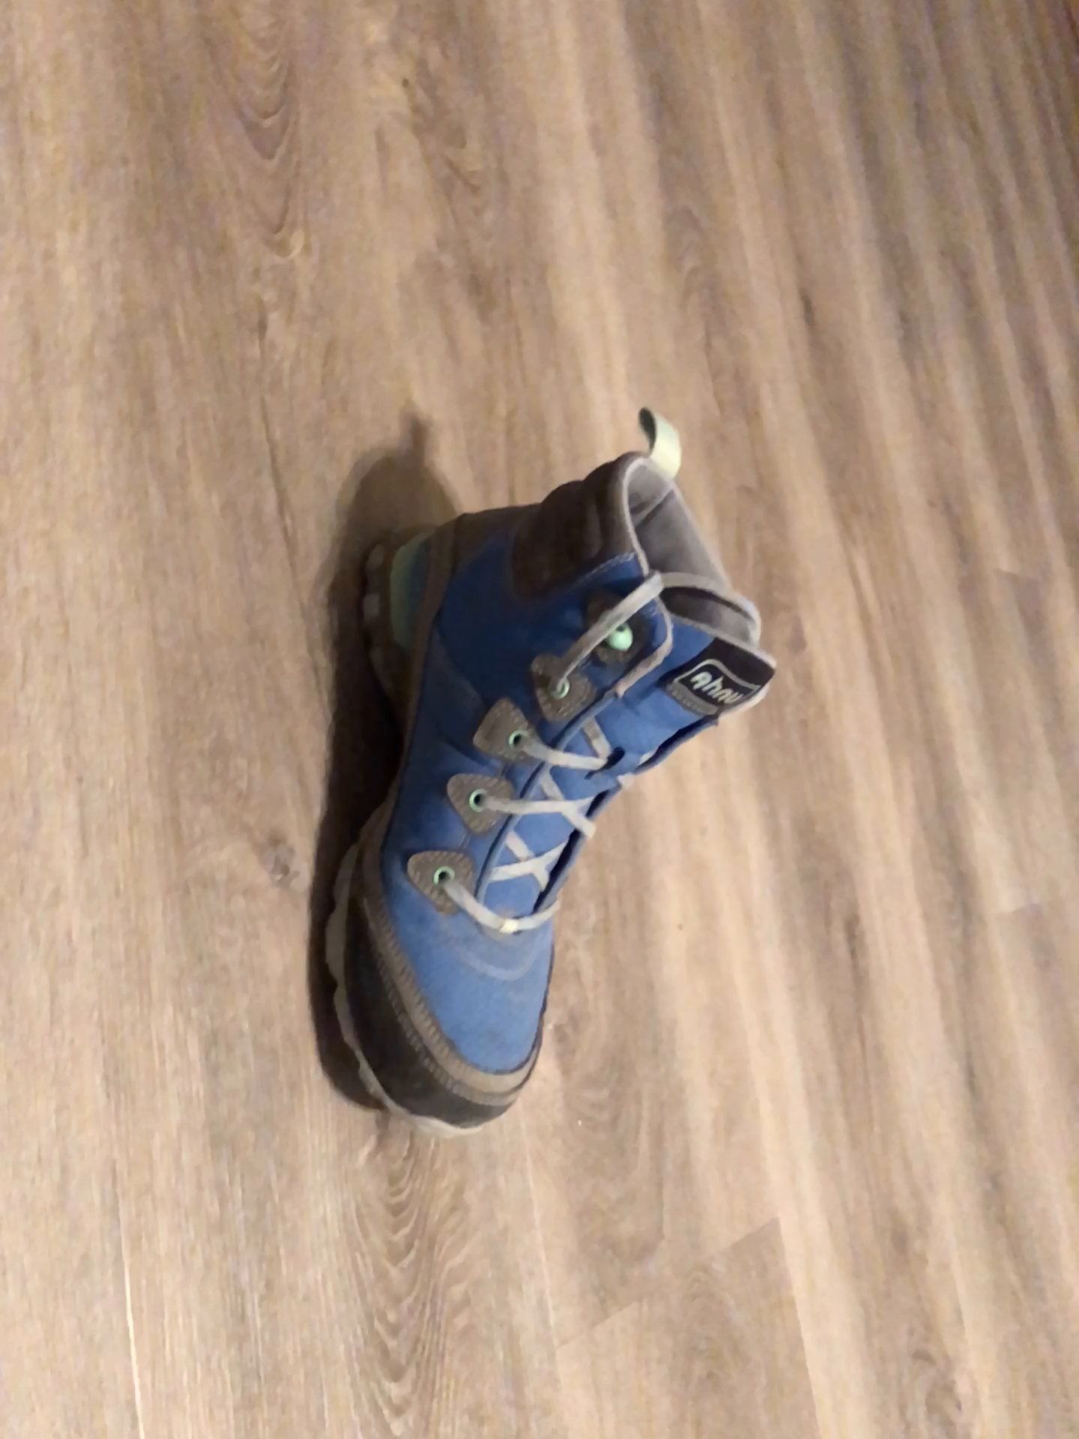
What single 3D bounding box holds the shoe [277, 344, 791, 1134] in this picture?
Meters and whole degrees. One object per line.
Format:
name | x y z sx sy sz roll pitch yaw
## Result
shoe | -0.002 0.019 0.442 0.101 0.139 0.250 22 61 -44
